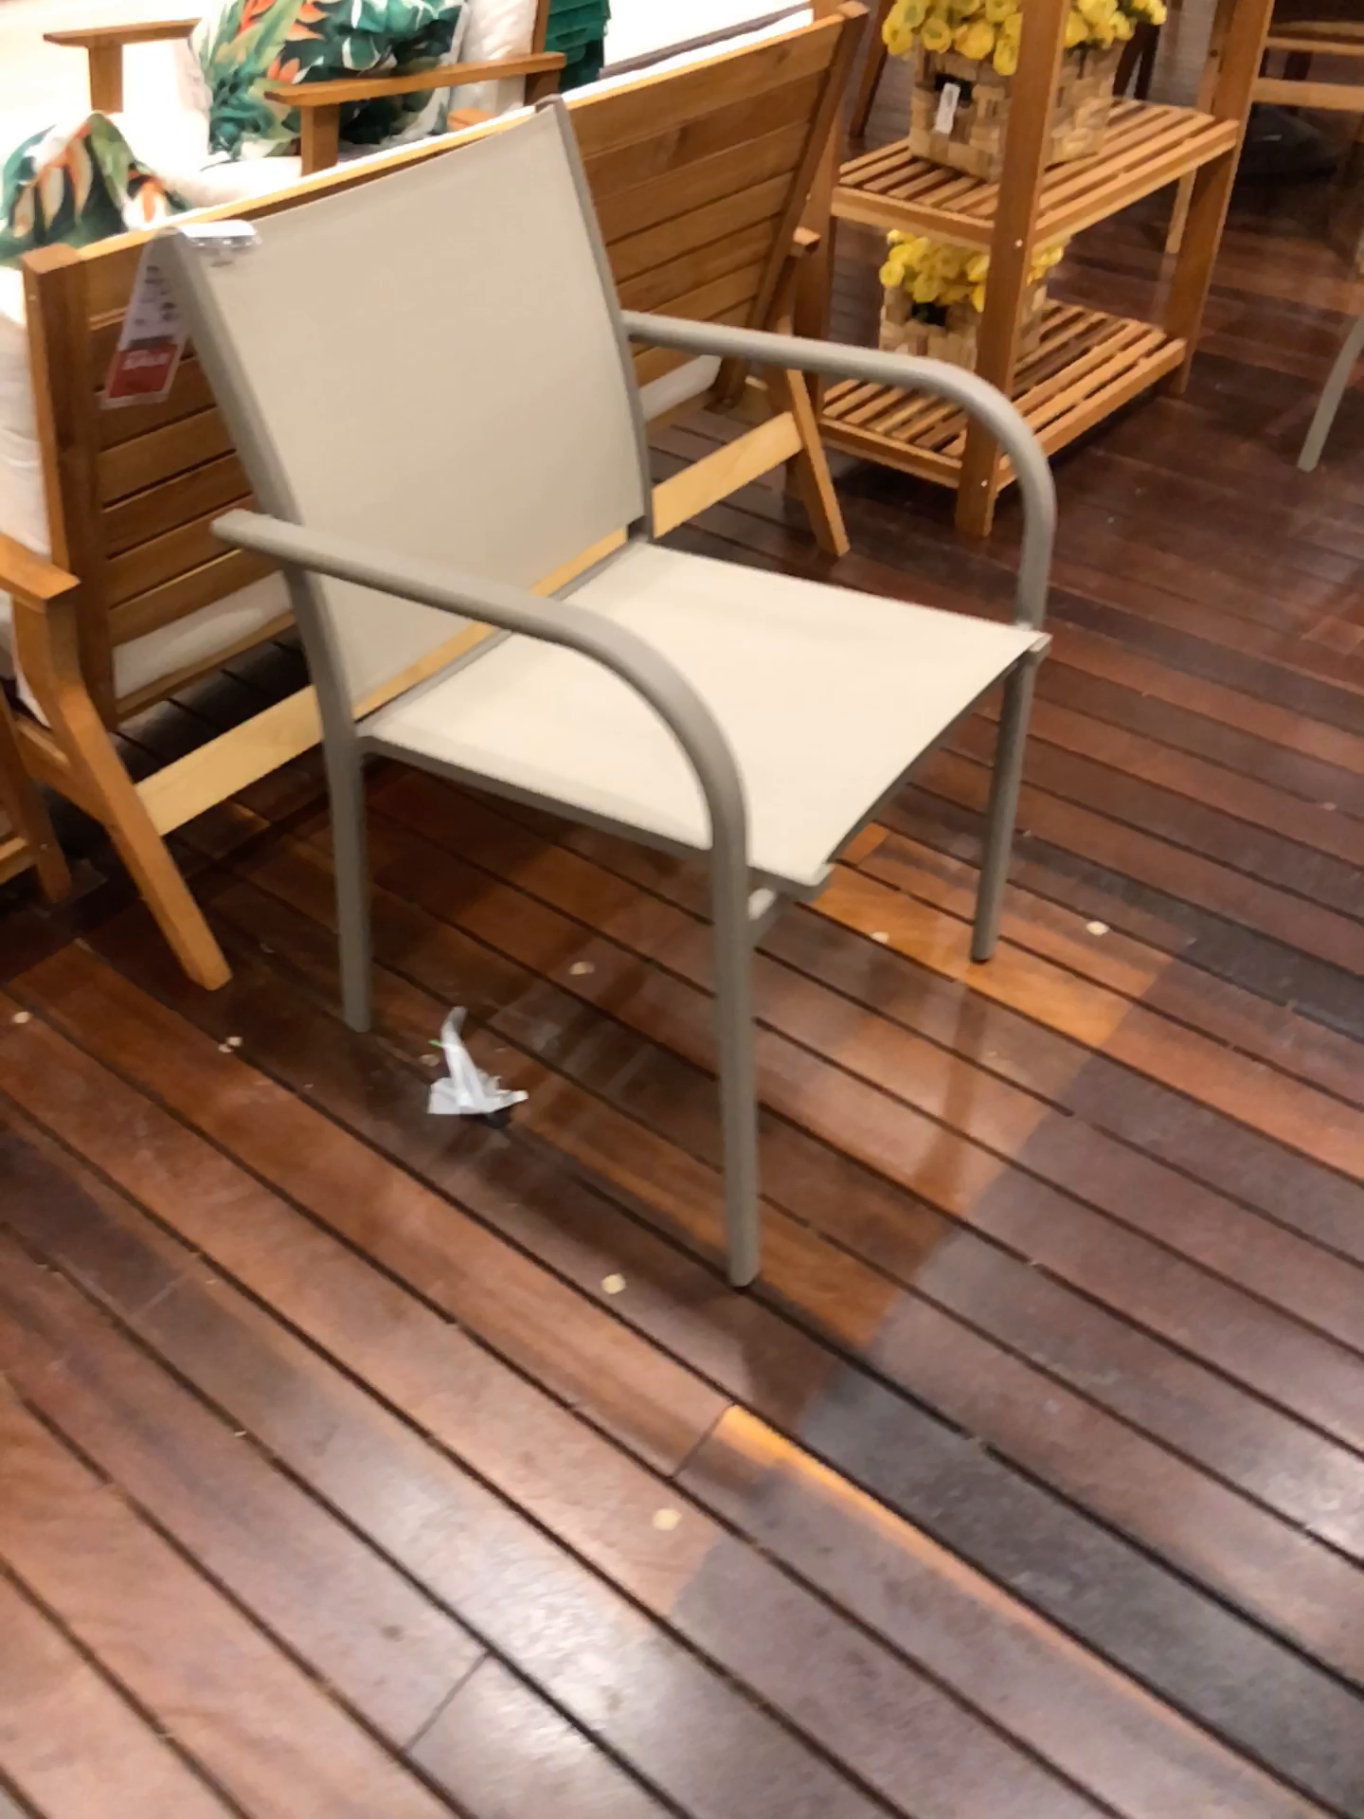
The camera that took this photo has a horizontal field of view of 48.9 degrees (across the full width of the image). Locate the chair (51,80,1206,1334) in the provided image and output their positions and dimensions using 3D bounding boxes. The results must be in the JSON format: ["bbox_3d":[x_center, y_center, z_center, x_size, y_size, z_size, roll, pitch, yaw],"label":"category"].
[{"bbox_3d":[-0.019,-0.212,1.381,0.612,0.794,0.623,25,47,26],"label":"chair"}]
